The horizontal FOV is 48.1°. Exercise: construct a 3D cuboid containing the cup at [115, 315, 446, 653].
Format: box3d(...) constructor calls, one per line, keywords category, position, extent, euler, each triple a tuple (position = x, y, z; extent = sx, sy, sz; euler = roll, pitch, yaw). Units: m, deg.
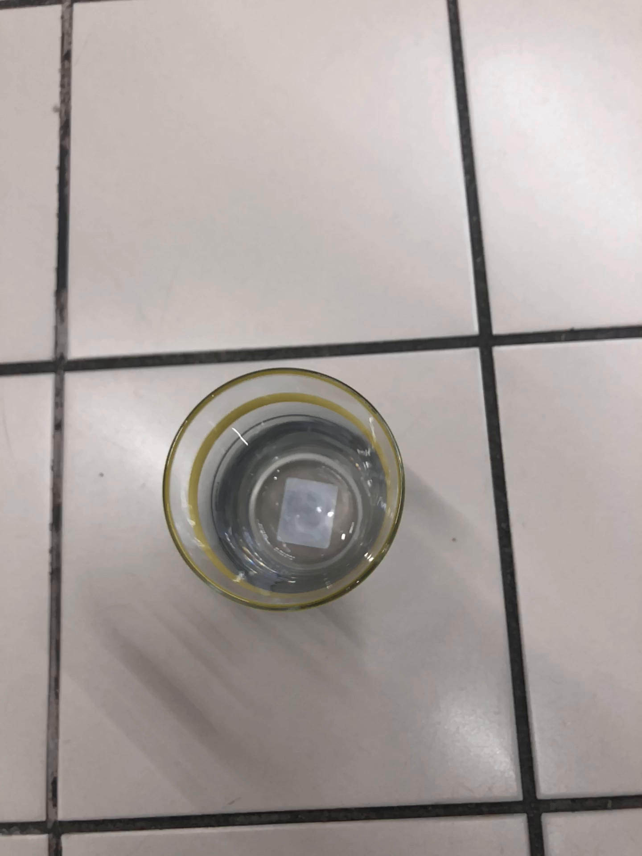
box3d(category="cup", position=(-0.009, 0.023, 0.269), extent=(0.076, 0.114, 0.079), euler=(0, 81, 3))
